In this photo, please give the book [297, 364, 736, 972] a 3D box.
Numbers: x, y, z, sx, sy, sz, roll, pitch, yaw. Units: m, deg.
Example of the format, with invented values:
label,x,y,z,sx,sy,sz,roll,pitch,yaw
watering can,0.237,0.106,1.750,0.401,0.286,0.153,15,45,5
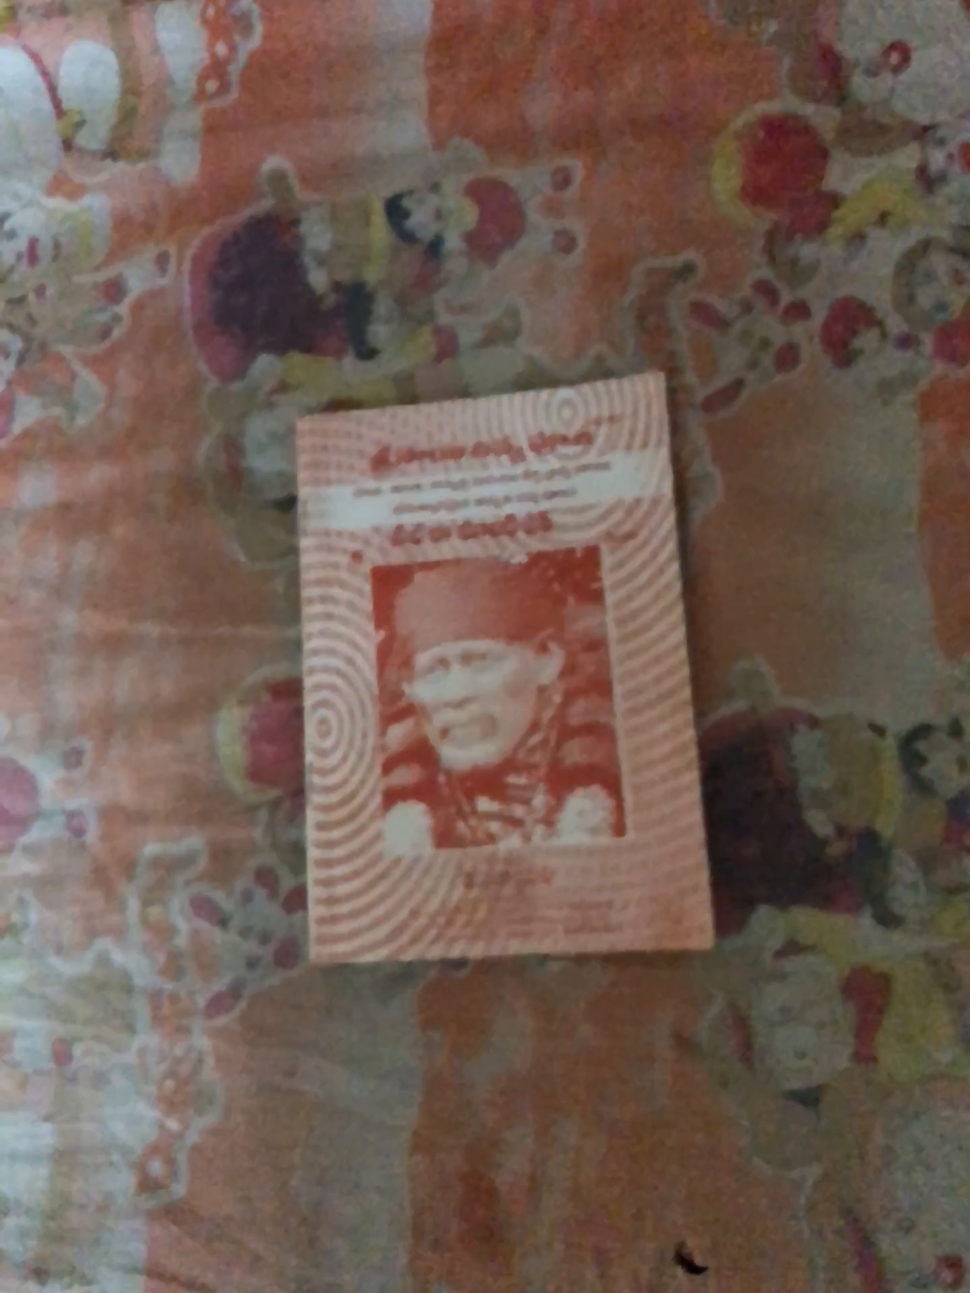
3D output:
label,x,y,z,sx,sy,sz,roll,pitch,yaw
book,0.005,0.005,0.327,0.120,0.010,0.173,-4,79,7
